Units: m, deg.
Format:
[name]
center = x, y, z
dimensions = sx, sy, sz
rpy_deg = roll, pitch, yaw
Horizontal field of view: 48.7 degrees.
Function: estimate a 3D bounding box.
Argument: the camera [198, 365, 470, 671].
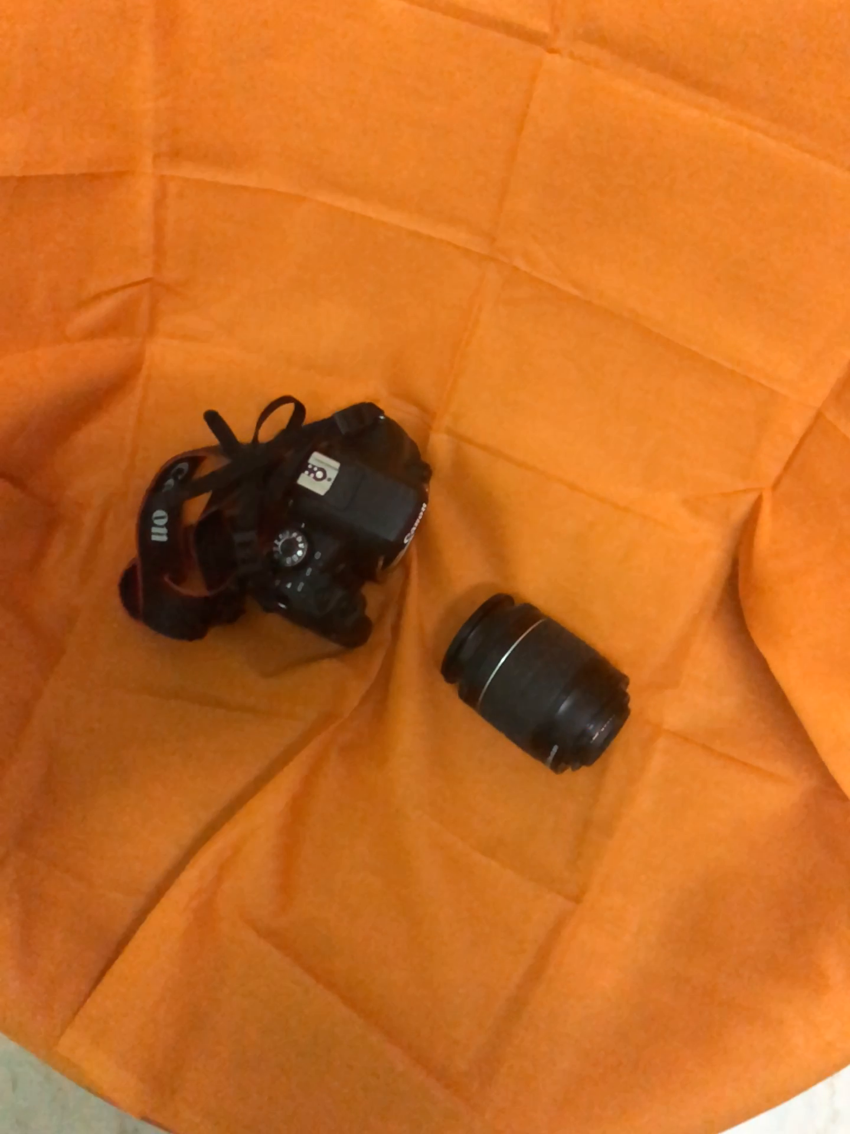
[camera]
center = -0.046, -0.025, 0.535
dimensions = 0.092, 0.072, 0.133
rpy_deg = 26, 80, 10
